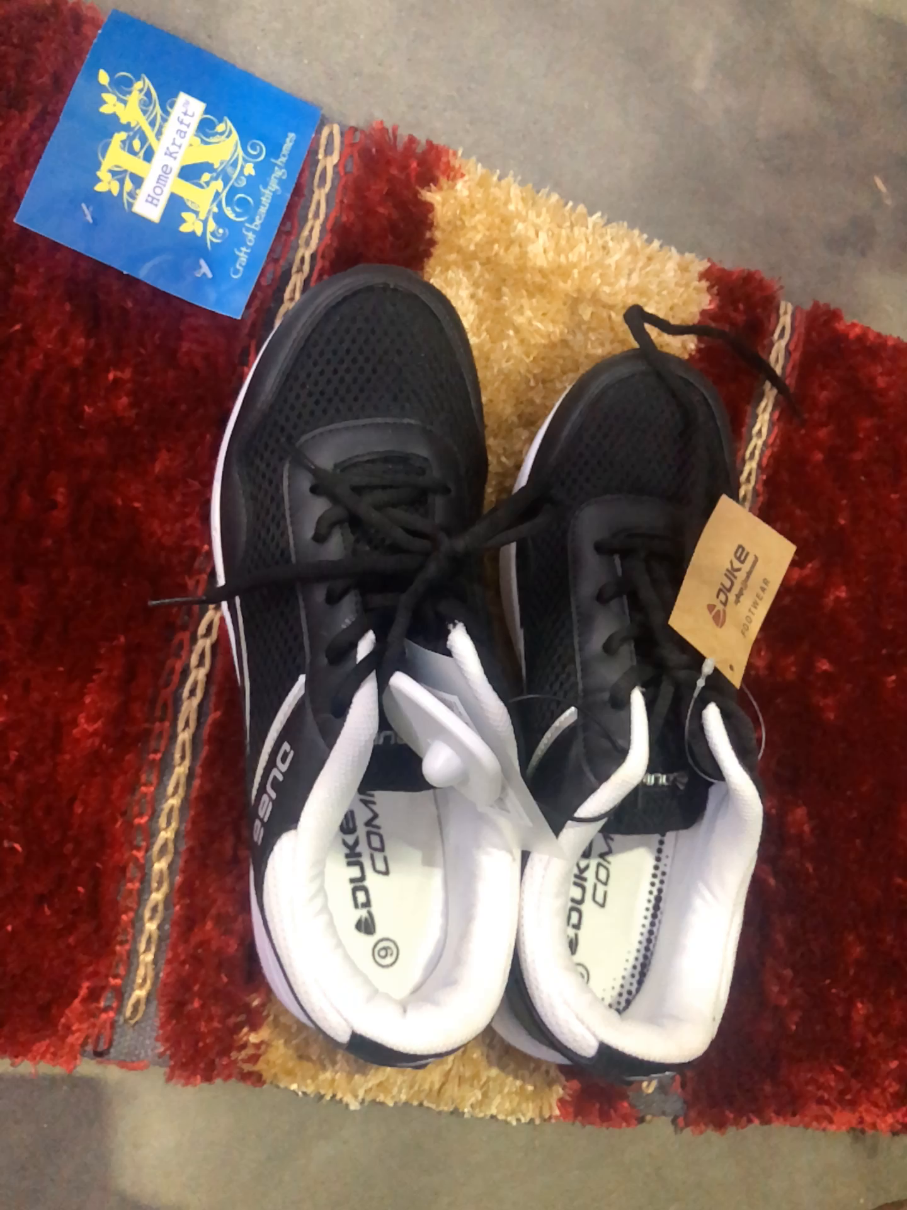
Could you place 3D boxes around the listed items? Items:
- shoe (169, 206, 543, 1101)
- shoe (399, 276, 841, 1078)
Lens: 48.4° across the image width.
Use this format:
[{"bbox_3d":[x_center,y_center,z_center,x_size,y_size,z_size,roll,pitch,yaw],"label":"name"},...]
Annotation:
[{"bbox_3d":[-0.035,0.012,0.320,0.100,0.070,0.240,0,86,-19],"label":"shoe"},{"bbox_3d":[0.060,0.027,0.364,0.110,0.070,0.250,10,83,-18],"label":"shoe"}]
